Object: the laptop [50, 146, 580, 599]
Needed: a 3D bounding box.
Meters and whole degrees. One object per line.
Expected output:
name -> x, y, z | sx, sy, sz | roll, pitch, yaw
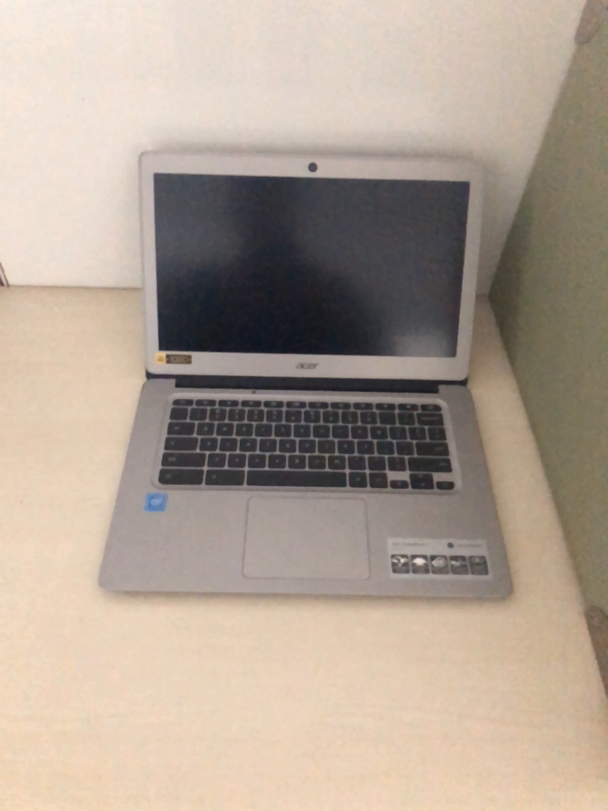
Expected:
laptop -> 0.005, -0.046, 0.583 | 0.322, 0.168, 0.367 | 2, 50, -2
